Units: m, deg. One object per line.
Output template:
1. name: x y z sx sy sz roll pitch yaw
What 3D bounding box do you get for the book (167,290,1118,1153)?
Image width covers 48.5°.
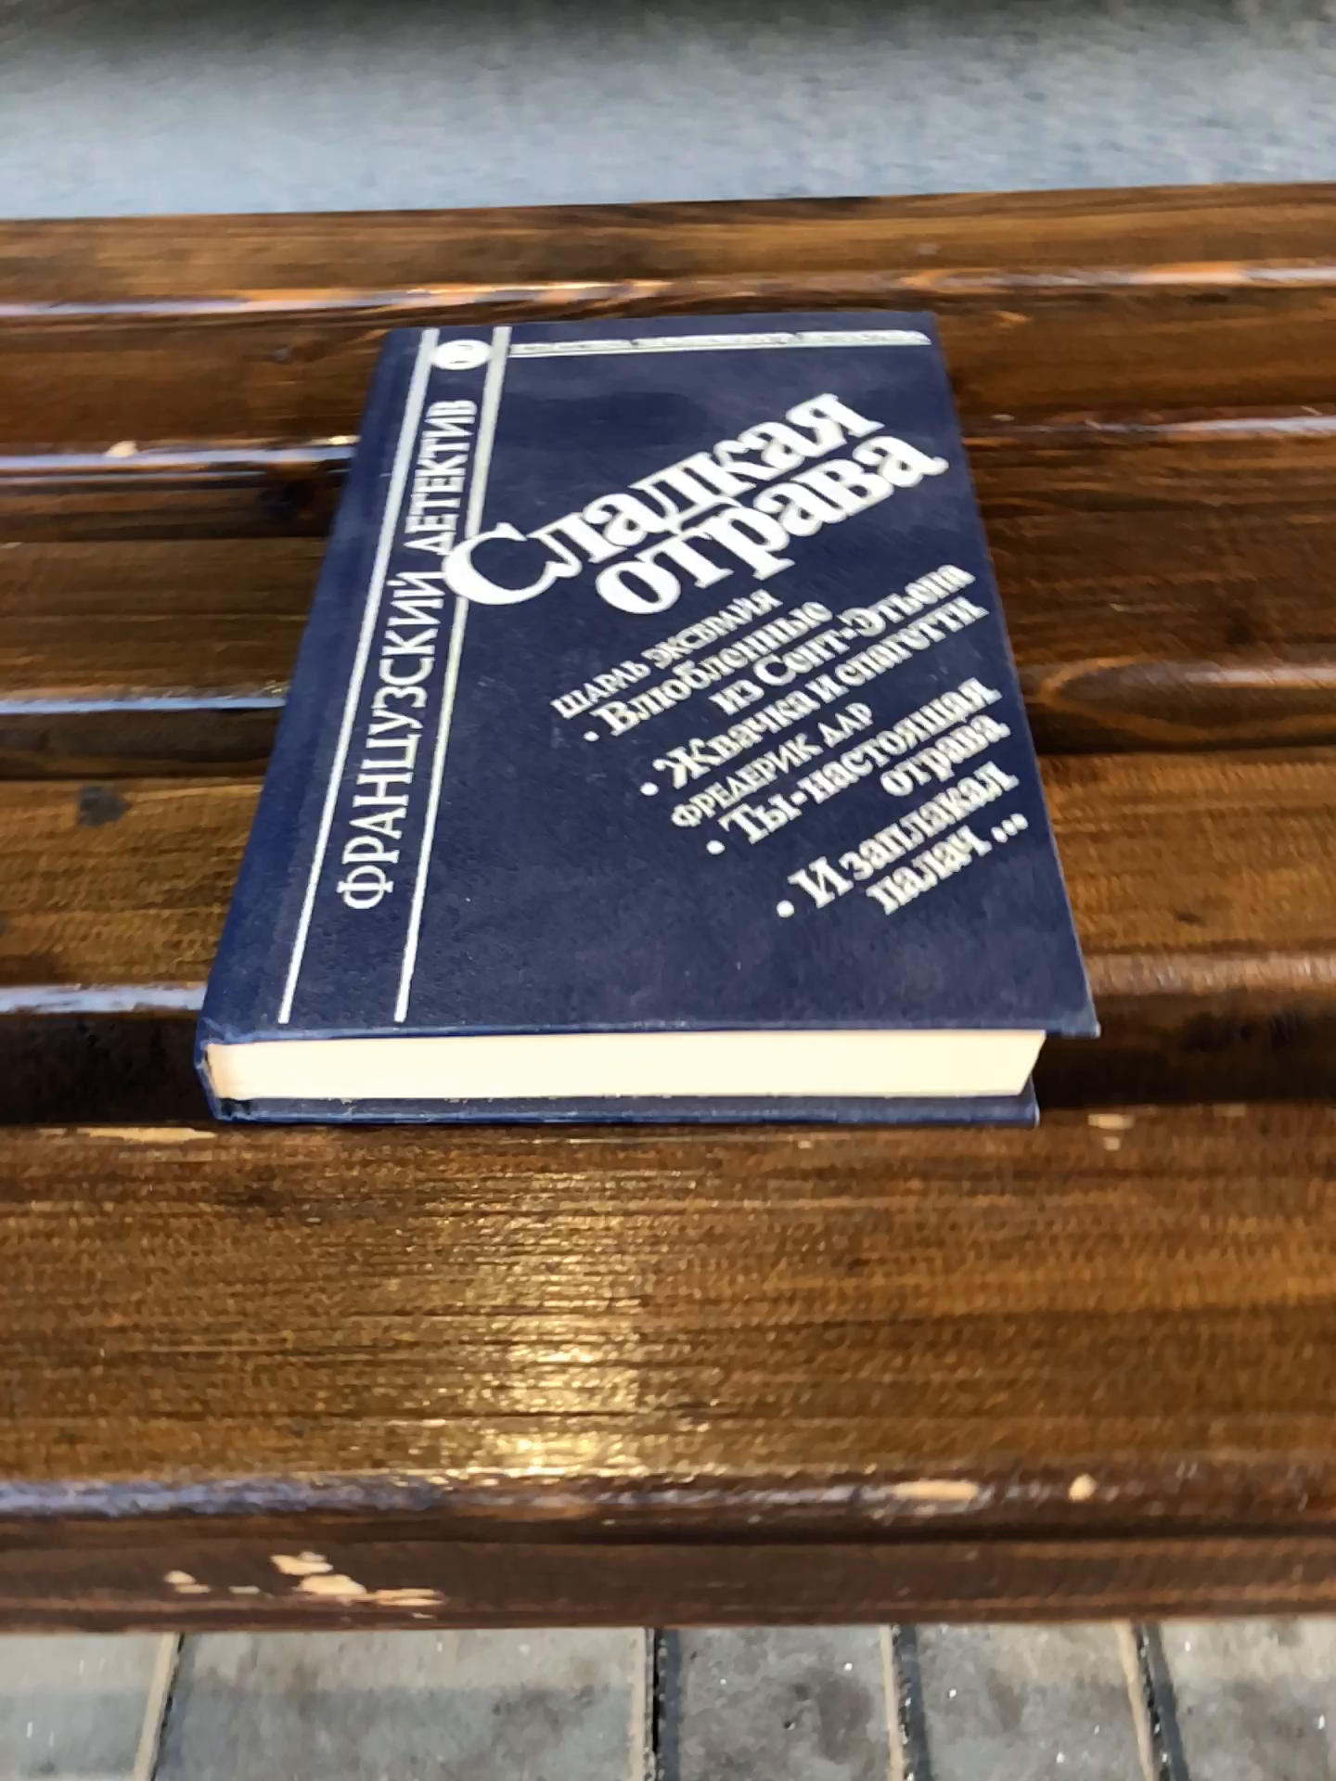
1. book: -0.003 -0.050 0.288 0.133 0.030 0.212 -1 49 1
